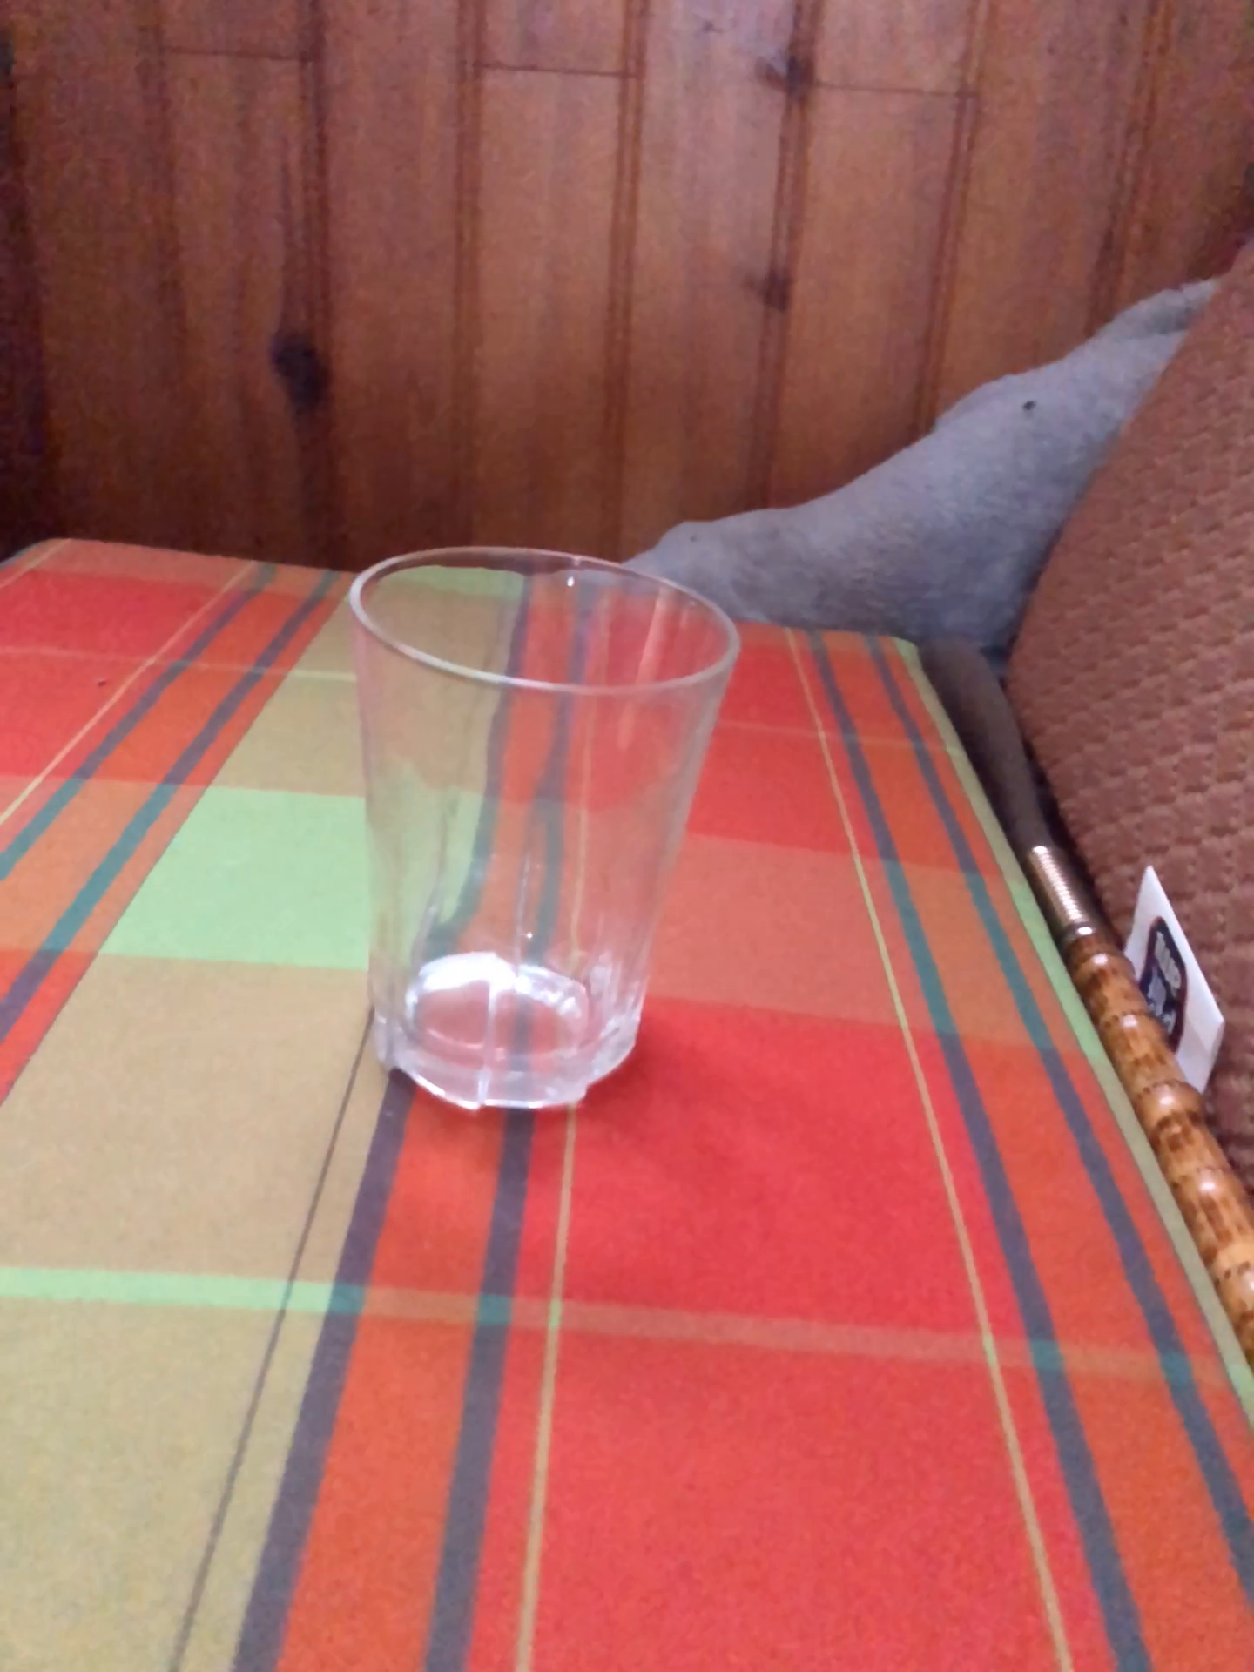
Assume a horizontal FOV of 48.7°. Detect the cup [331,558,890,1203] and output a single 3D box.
[{"bbox_3d":[-0.010,0.003,0.239,0.070,0.080,0.070,5,29,-3],"label":"cup"}]
